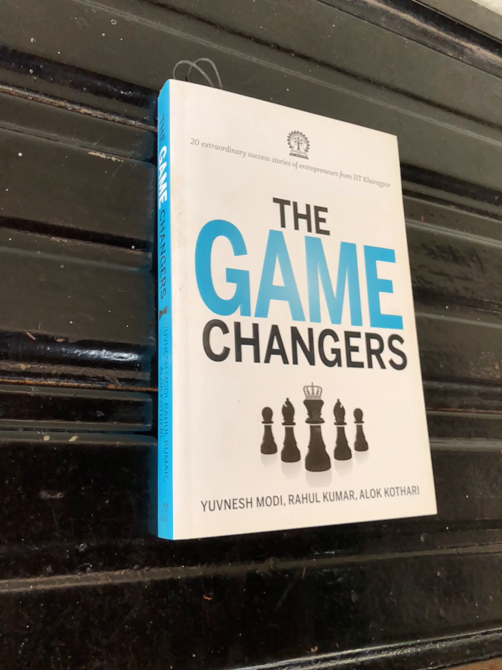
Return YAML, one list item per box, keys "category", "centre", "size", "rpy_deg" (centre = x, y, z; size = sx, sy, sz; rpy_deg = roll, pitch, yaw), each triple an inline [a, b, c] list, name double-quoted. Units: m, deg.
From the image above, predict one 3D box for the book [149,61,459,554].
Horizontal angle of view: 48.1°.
- category: "book"
  centre: [0.023, -0.012, 0.251]
  size: [0.130, 0.030, 0.190]
  rpy_deg: [4, 76, -26]
